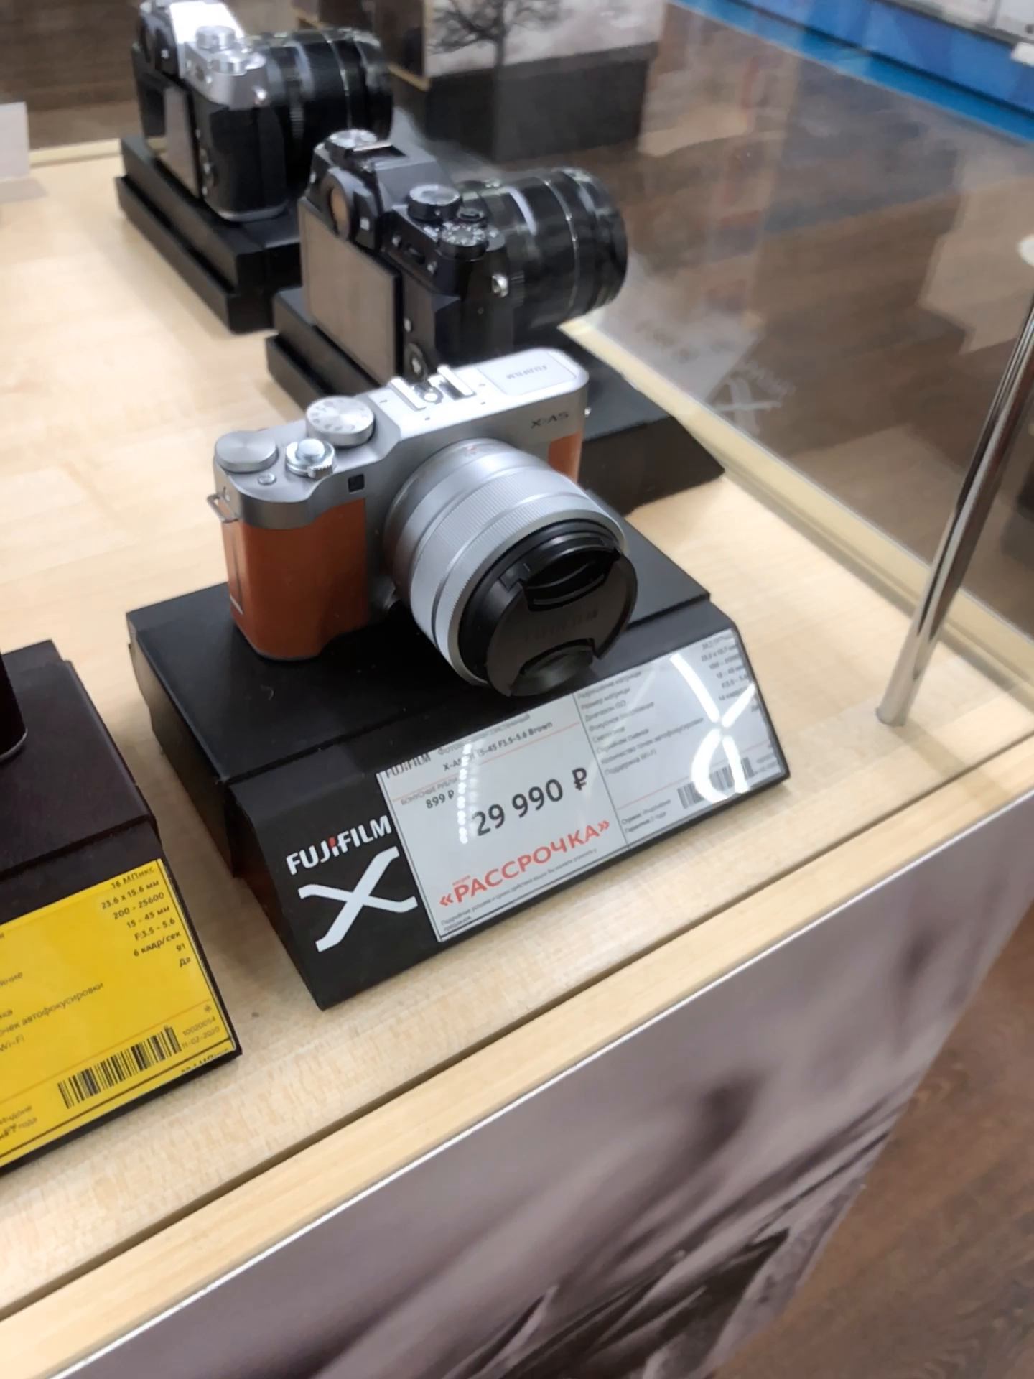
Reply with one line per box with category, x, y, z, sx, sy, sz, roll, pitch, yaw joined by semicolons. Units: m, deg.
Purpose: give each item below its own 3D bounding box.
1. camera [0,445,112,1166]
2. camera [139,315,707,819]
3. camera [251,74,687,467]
camera;-0.171;0.016;0.251;0.121;0.075;0.093;-23;50;-26
camera;-0.027;-0.041;0.333;0.121;0.075;0.093;-23;50;-26
camera;-0.023;-0.175;0.466;0.113;0.090;0.131;-22;49;-26
